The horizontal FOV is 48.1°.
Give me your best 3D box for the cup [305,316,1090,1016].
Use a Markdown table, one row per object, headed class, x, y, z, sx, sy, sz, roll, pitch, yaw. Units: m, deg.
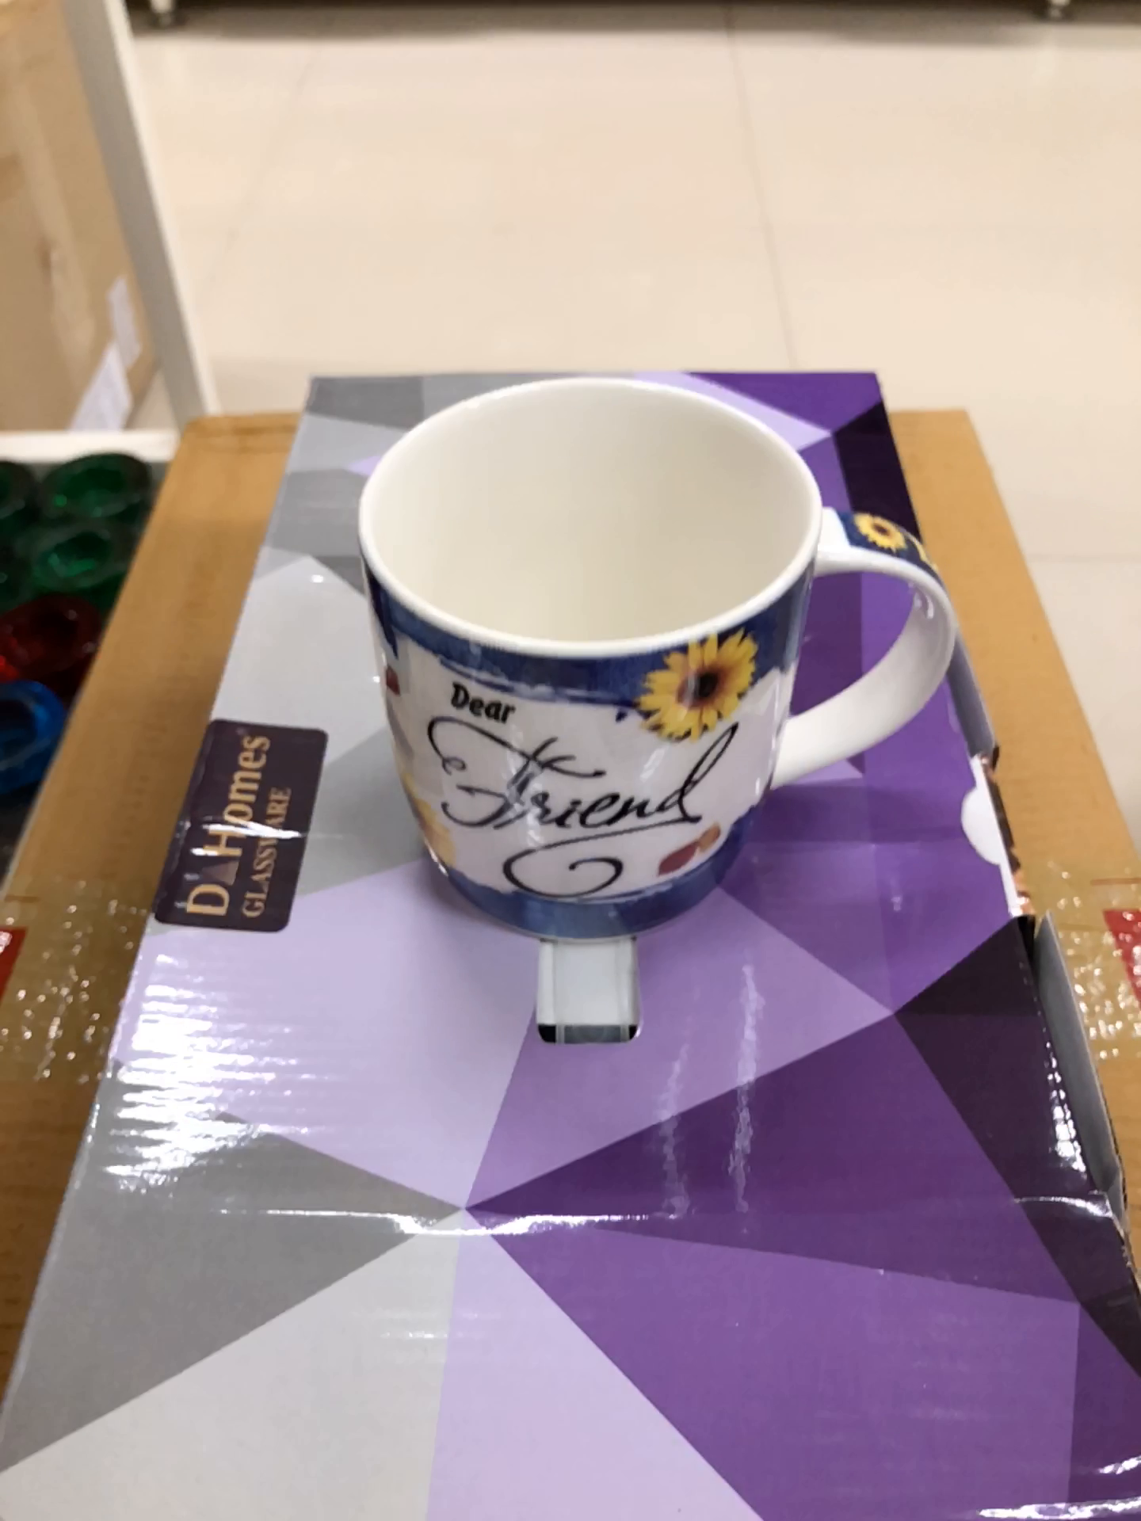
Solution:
| class | x | y | z | sx | sy | sz | roll | pitch | yaw |
| --- | --- | --- | --- | --- | --- | --- | --- | --- | --- |
| cup | 0.019 | -0.021 | 0.263 | 0.120 | 0.089 | 0.080 | -14 | 48 | -12 |
